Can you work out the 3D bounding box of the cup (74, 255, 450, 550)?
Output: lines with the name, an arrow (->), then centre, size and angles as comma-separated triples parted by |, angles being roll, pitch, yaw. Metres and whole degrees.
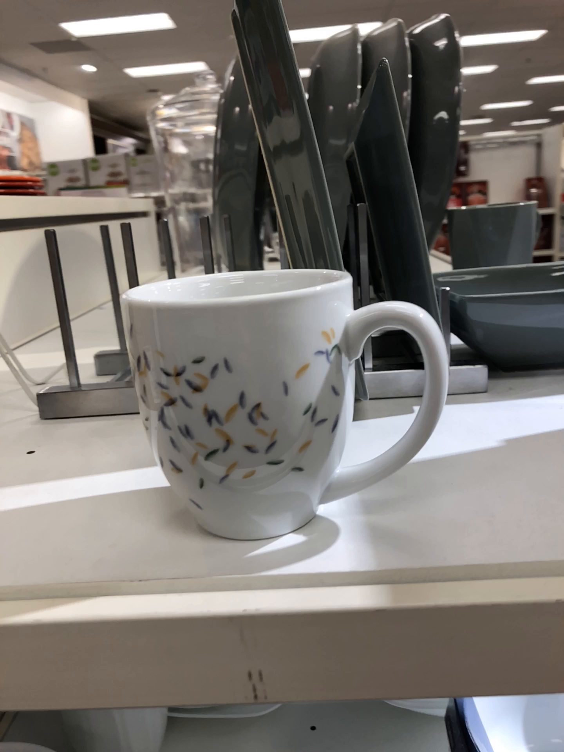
cup -> 0.002, 0.004, 0.262 | 0.127, 0.091, 0.093 | -1, 15, 13
